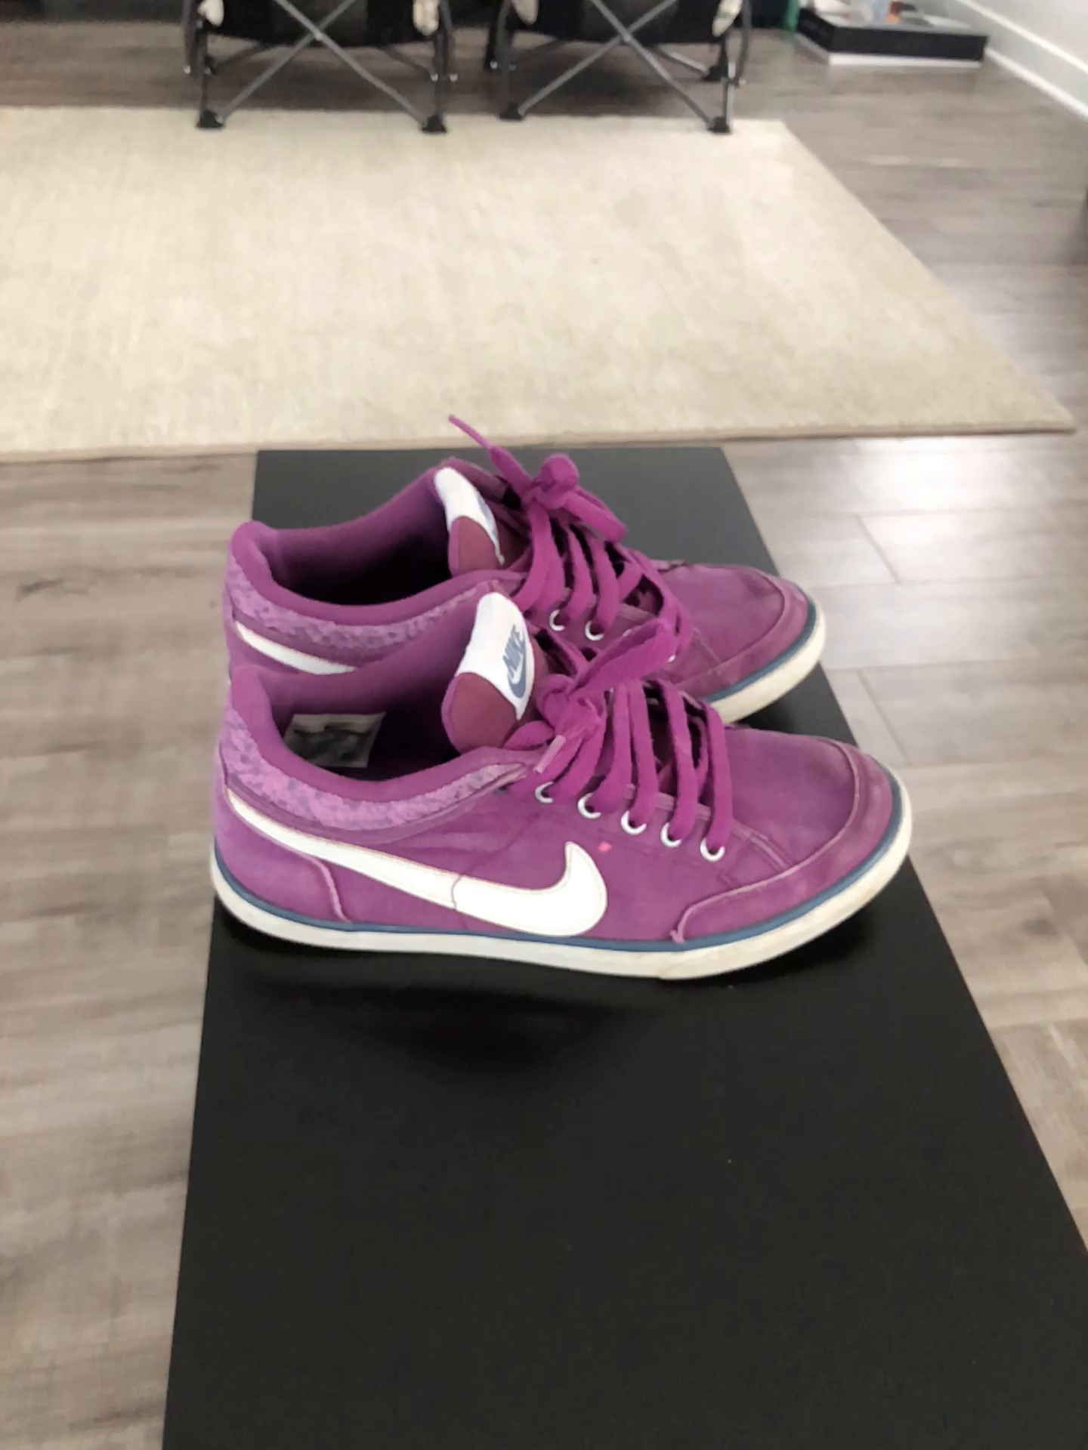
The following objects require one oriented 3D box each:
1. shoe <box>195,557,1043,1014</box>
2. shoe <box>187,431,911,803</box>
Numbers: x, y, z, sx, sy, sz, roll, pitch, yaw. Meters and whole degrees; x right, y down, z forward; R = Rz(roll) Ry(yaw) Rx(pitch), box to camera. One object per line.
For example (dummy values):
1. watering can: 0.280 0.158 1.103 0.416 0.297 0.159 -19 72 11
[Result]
1. shoe: 0.017 0.017 0.404 0.240 0.100 0.100 -3 42 -7
2. shoe: -0.002 -0.046 0.481 0.250 0.100 0.100 -3 42 -7
